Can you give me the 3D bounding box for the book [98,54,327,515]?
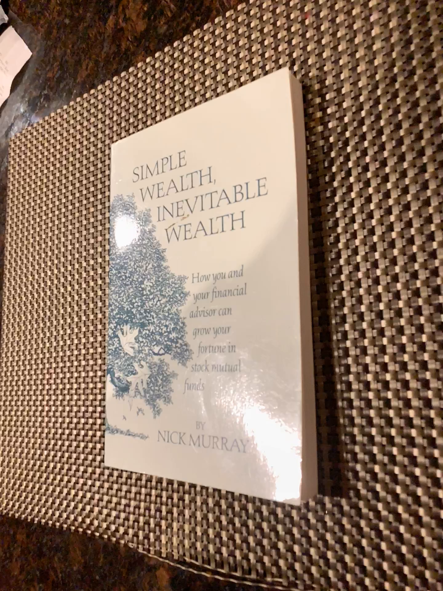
[{"bbox_3d":[-0.015,-0.004,0.256,0.141,0.021,0.210,-6,82,37],"label":"book"}]
